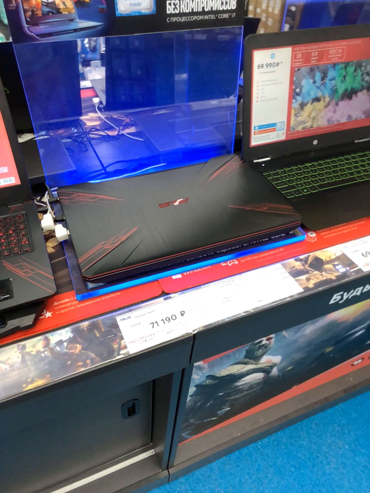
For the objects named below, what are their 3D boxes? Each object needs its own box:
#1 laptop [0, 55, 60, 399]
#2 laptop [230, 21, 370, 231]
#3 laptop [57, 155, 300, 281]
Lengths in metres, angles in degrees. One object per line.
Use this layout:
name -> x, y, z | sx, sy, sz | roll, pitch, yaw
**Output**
laptop -> -0.420, -0.066, 0.536 | 0.390, 0.231, 0.320 | -16, 43, -18
laptop -> 0.334, -0.254, 0.791 | 0.374, 0.242, 0.293 | -14, 44, -17
laptop -> -0.021, -0.073, 0.733 | 0.373, 0.006, 0.244 | -15, 44, -17
